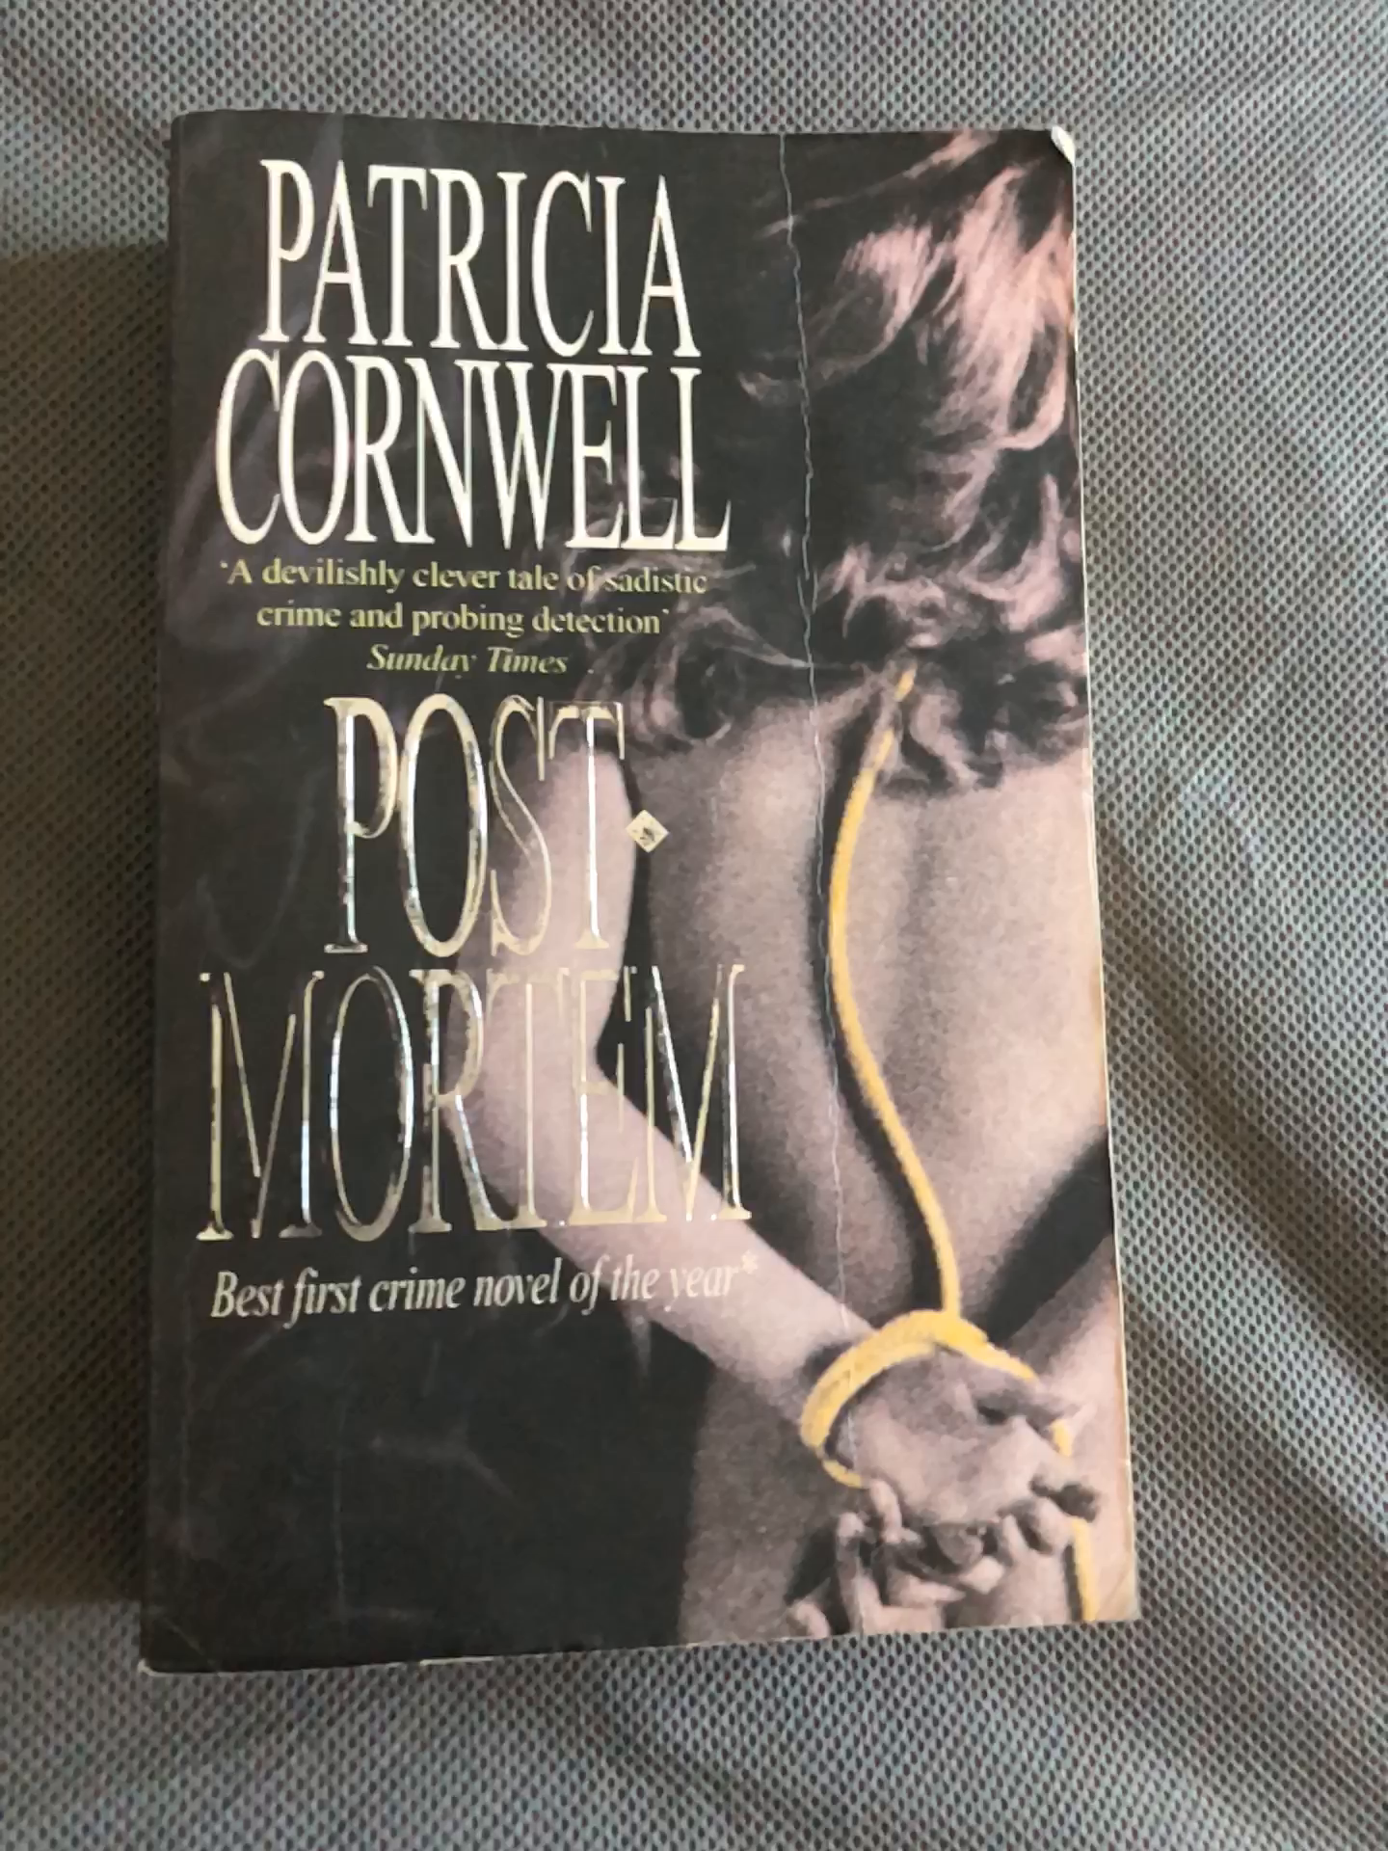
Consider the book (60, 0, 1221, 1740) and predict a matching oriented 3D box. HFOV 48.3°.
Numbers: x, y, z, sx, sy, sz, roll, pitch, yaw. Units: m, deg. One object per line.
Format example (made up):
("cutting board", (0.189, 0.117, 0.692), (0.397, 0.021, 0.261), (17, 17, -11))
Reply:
("book", (-0.008, -0.013, 0.184), (0.110, 0.050, 0.180), (0, 81, -8))
